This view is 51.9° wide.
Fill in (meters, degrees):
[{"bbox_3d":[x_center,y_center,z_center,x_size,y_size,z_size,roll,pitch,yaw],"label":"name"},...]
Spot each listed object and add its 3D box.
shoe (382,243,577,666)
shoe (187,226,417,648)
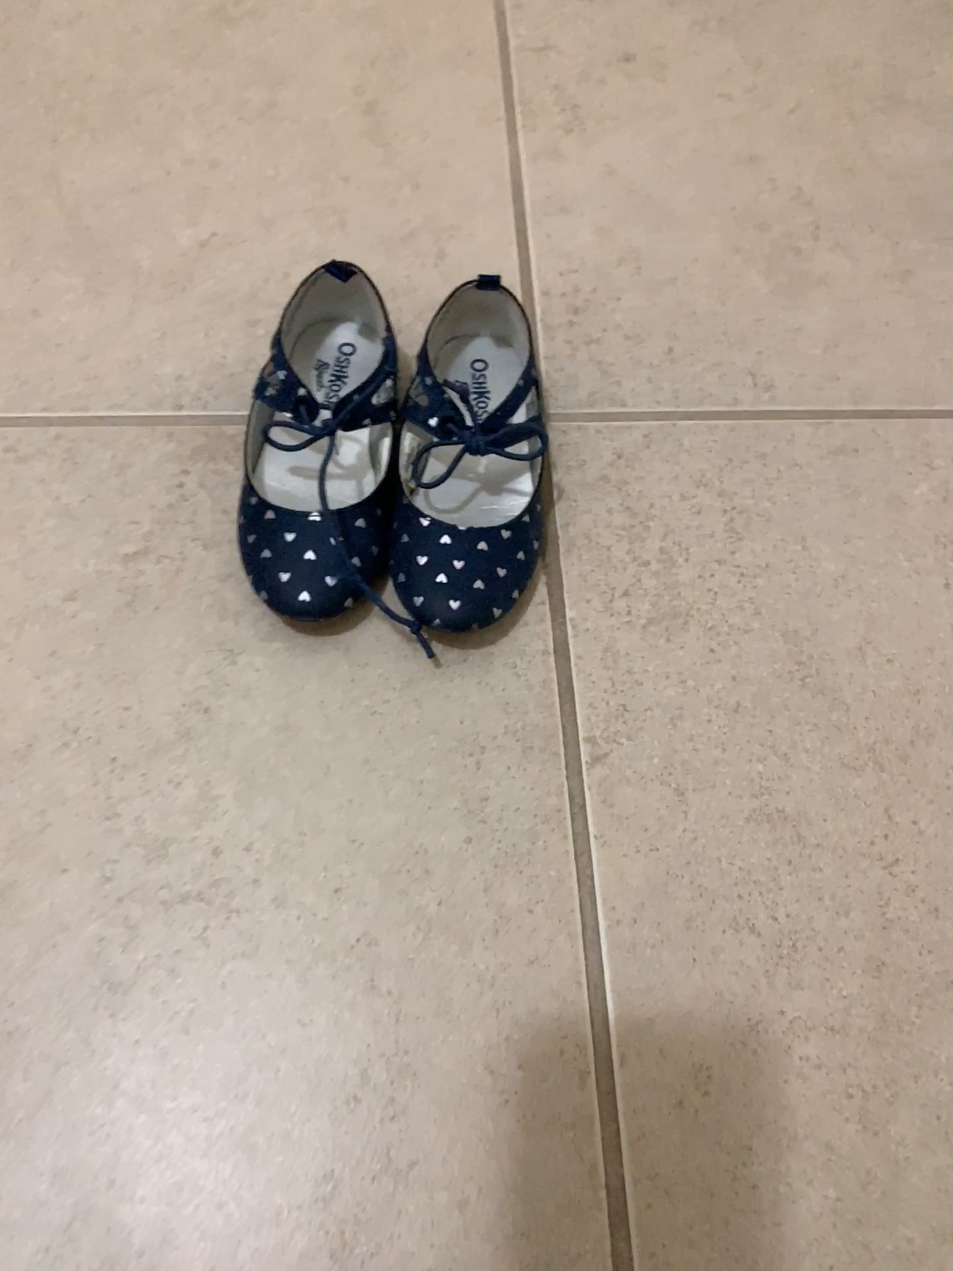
[{"bbox_3d":[0.003,-0.079,0.419,0.070,0.061,0.172,4,63,-2],"label":"shoe"},{"bbox_3d":[-0.067,-0.087,0.418,0.070,0.061,0.172,4,63,-2],"label":"shoe"}]
